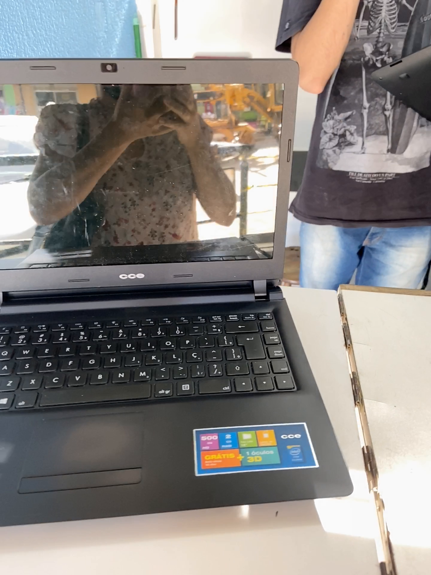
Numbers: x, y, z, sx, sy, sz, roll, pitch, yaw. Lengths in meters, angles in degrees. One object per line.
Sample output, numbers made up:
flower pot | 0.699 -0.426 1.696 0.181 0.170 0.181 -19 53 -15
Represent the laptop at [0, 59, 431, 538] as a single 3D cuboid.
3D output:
laptop | -0.077 -0.024 0.337 0.323 0.216 0.268 -3 35 -3
